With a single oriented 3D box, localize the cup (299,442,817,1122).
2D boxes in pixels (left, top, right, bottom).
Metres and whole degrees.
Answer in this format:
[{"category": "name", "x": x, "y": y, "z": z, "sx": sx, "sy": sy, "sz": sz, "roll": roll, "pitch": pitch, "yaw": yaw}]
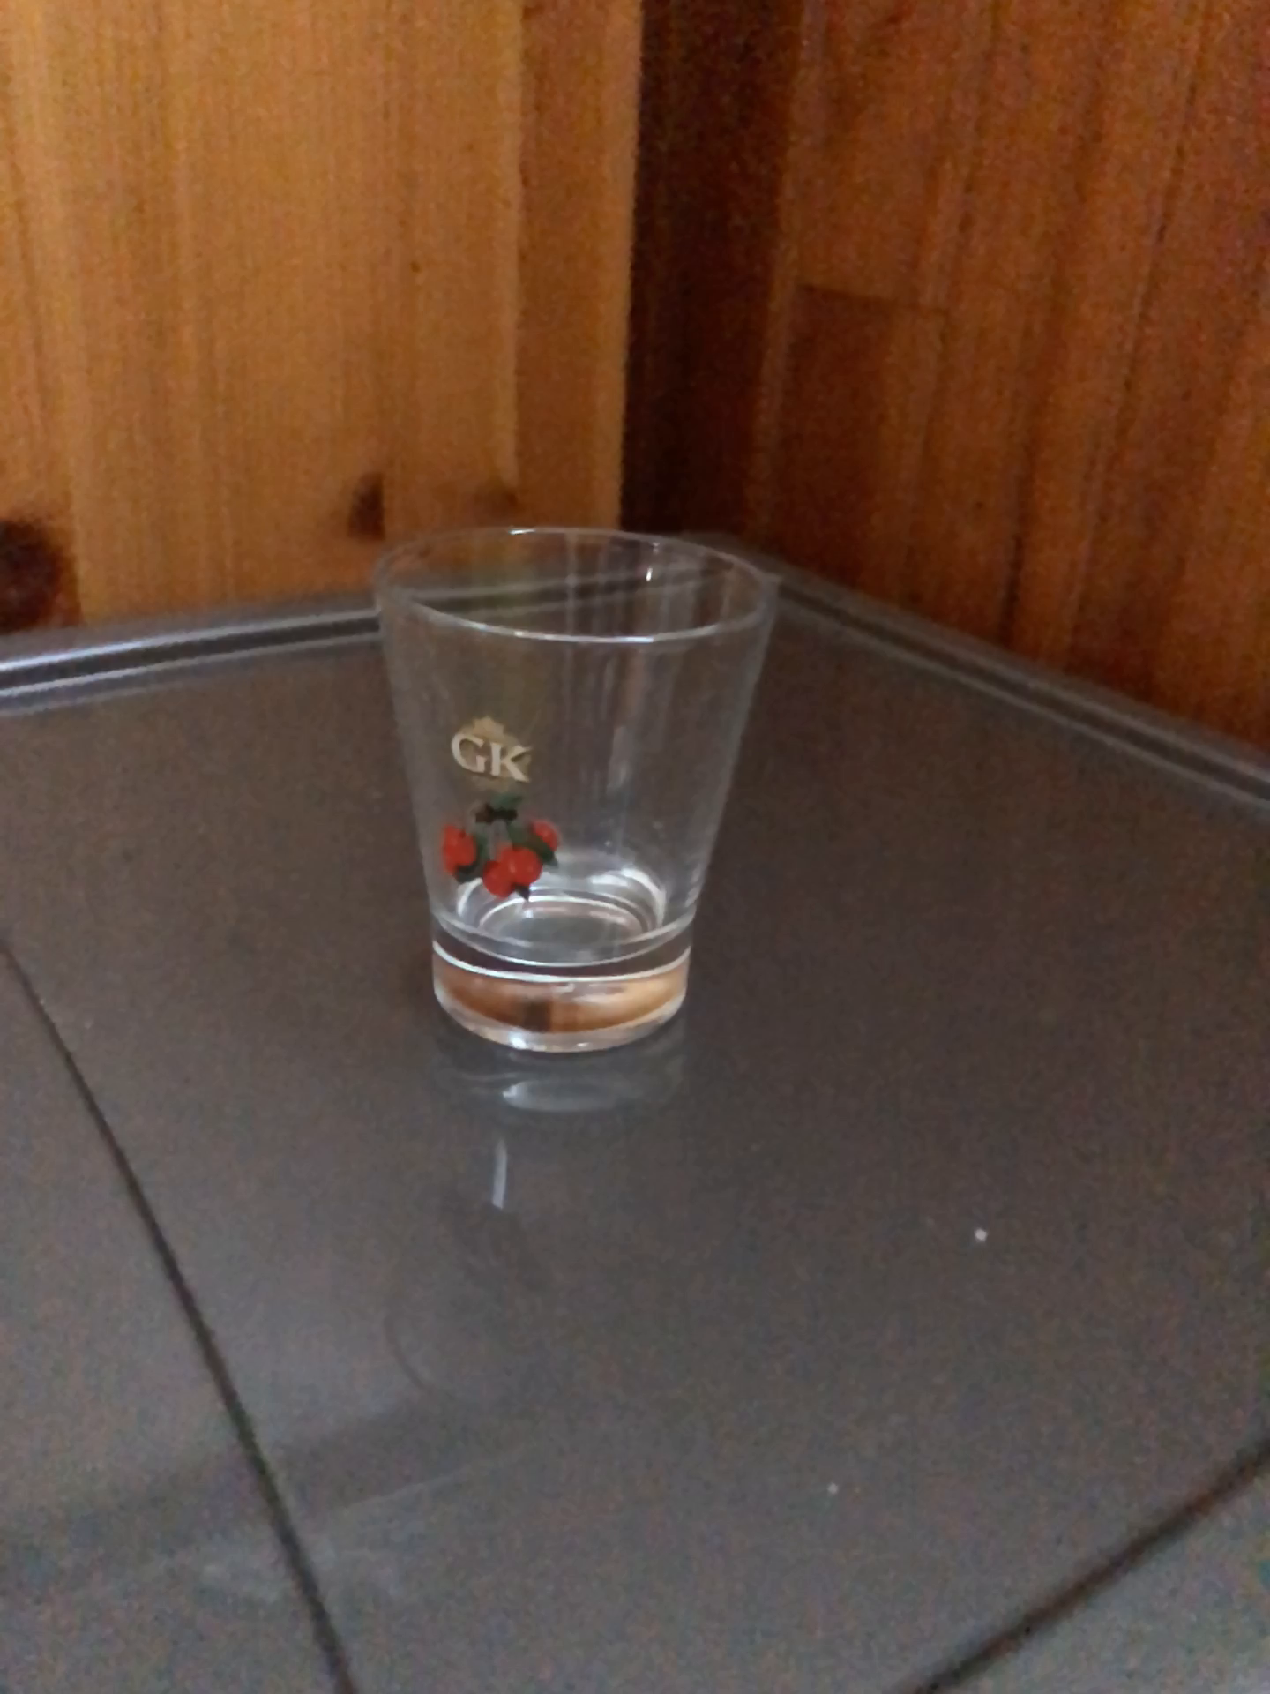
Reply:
[{"category": "cup", "x": -0.009, "y": -0.013, "z": 0.217, "sx": 0.060, "sy": 0.080, "sz": 0.060, "roll": 3, "pitch": 26, "yaw": -2}]
